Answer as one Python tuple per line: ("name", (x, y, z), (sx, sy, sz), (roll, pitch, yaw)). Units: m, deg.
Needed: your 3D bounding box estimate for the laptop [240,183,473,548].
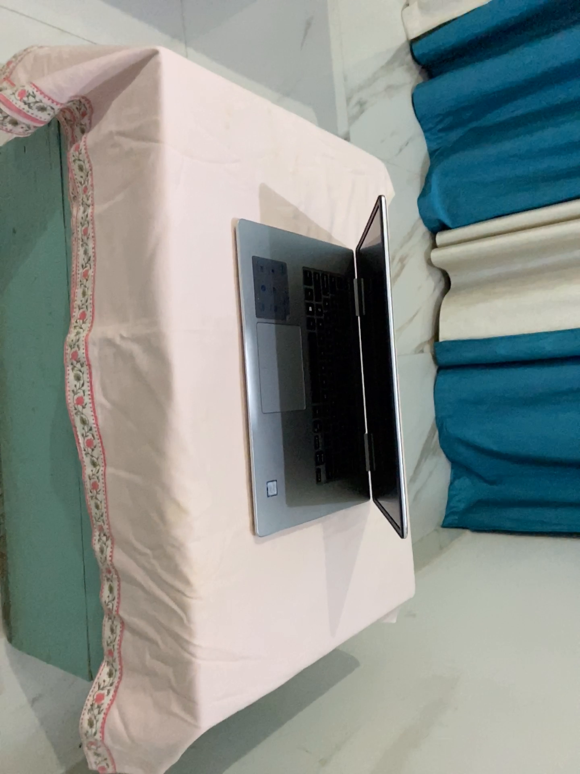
("laptop", (0.088, -0.020, 0.699), (0.235, 0.148, 0.347), (-4, 90, -51))
